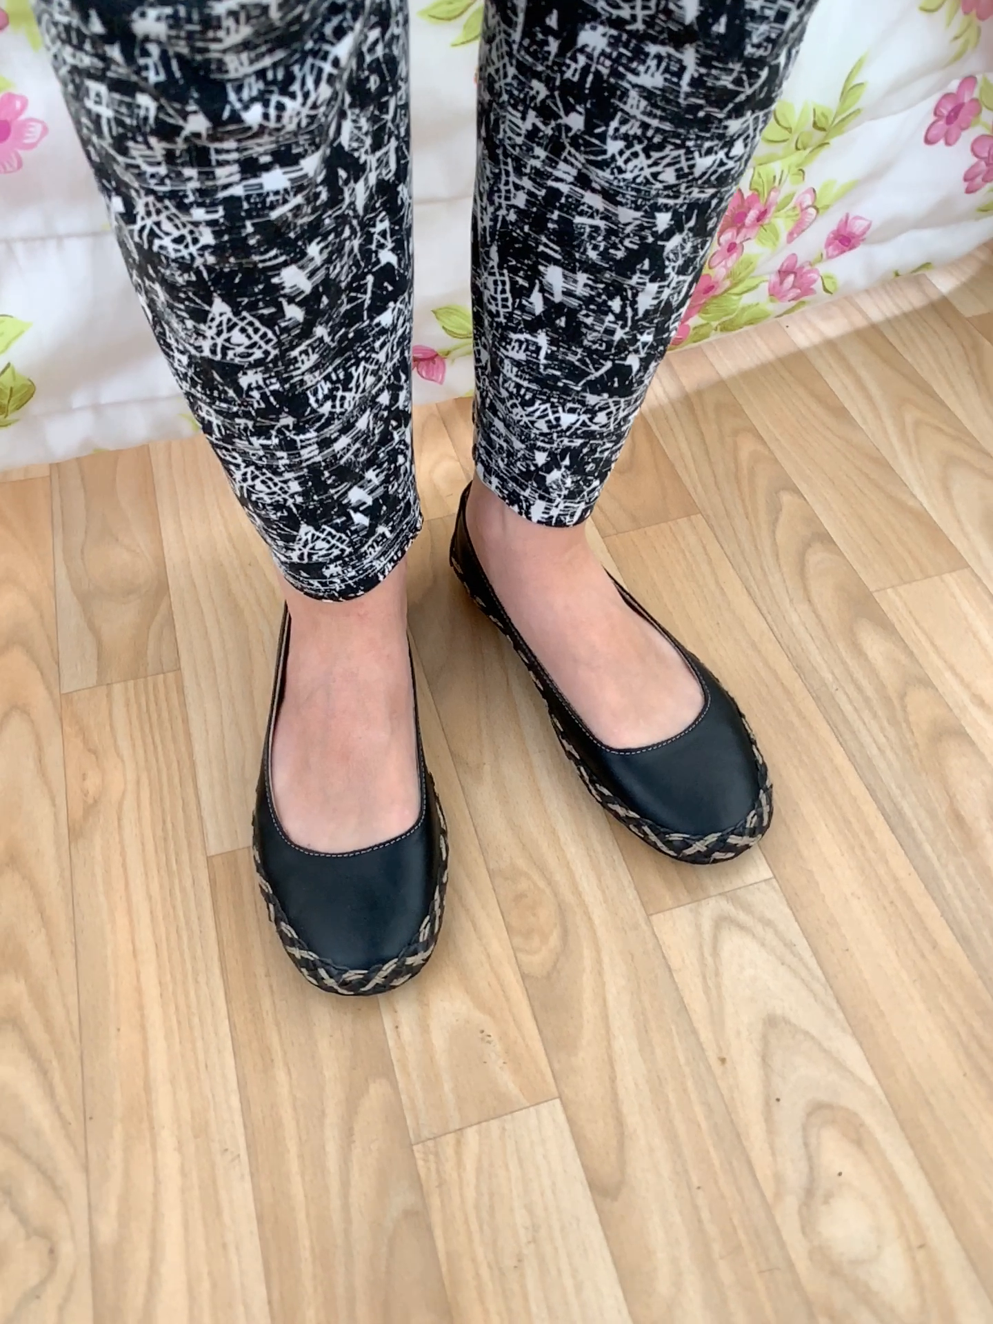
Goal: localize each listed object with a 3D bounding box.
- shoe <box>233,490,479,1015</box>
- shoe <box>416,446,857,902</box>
[{"bbox_3d":[-0.076,0.033,0.529,0.100,0.070,0.266,-7,54,-3],"label":"shoe"},{"bbox_3d":[0.063,-0.006,0.556,0.100,0.060,0.251,-27,57,-17],"label":"shoe"}]
